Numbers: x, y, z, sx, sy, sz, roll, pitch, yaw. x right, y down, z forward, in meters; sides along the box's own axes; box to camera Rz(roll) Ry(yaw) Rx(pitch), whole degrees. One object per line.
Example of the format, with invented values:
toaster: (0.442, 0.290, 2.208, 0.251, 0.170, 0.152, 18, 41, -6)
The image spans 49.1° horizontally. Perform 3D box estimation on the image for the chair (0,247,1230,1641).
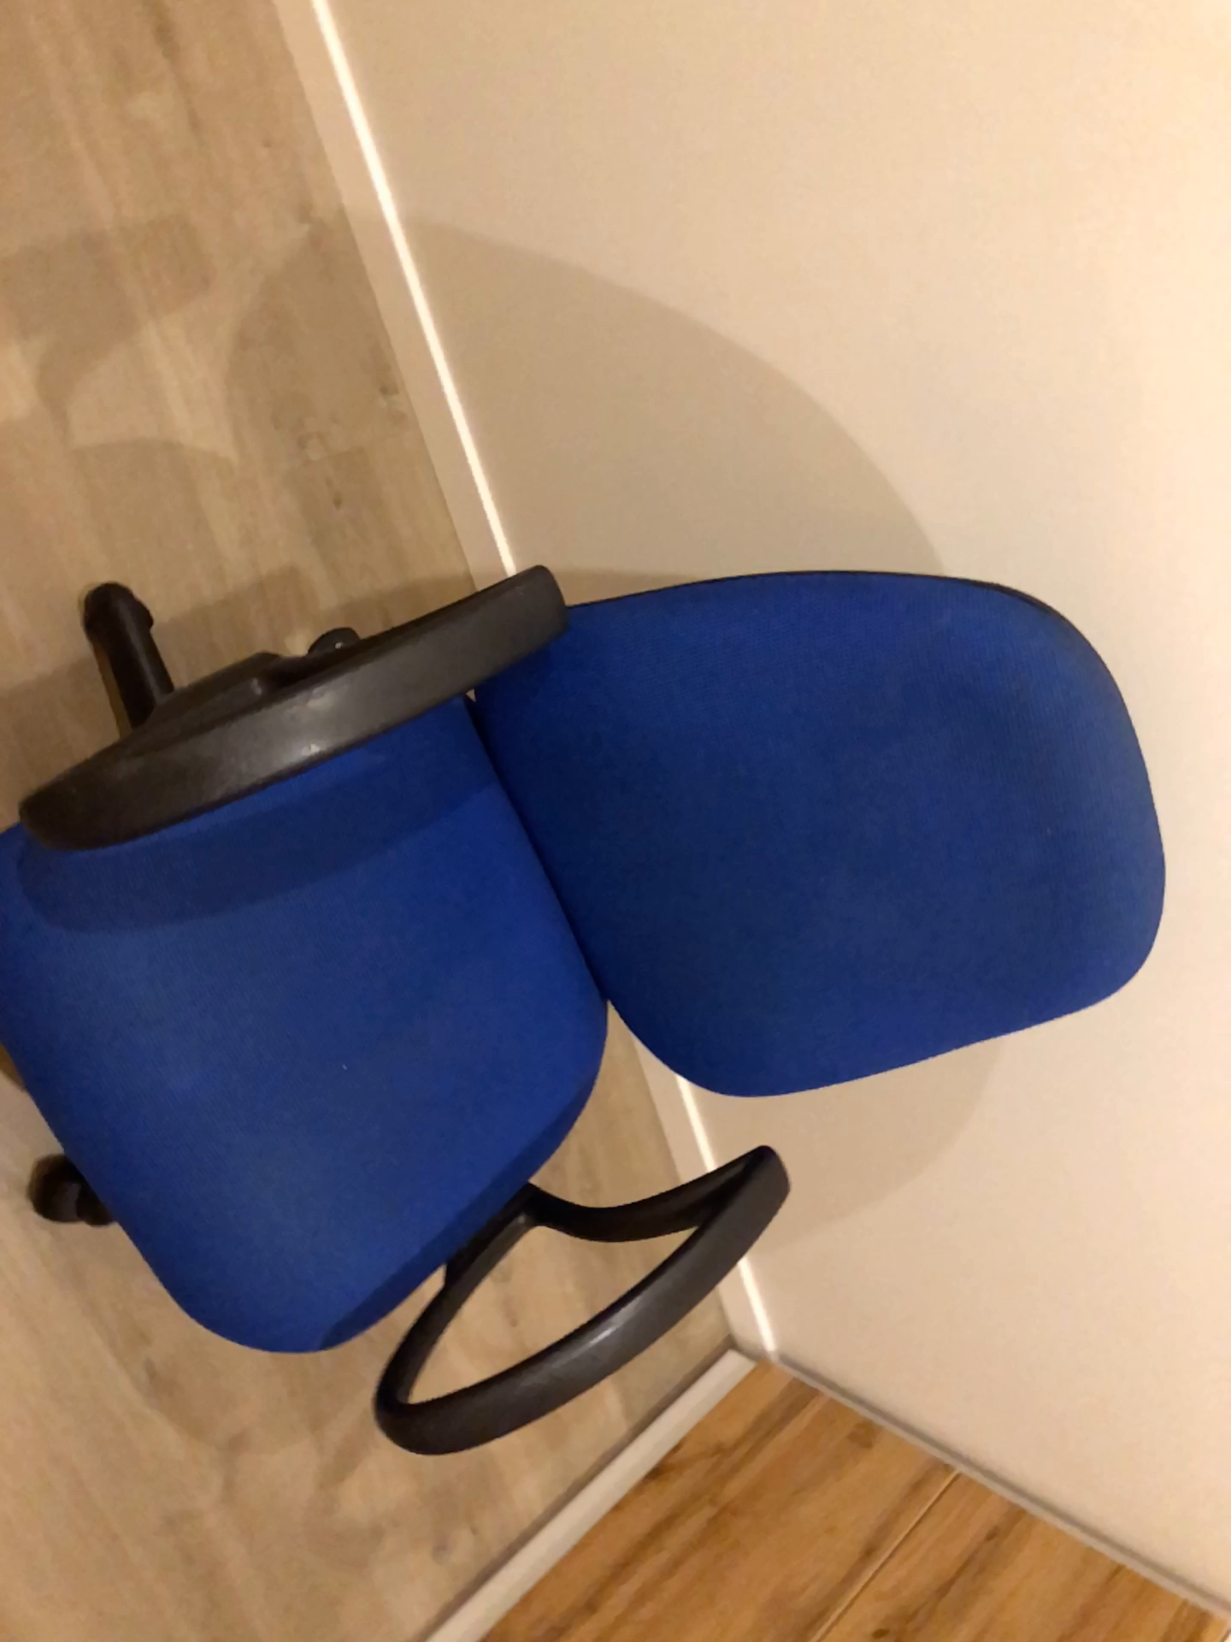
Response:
chair: (-0.128, 0.107, 1.100, 0.702, 0.905, 0.697, -38, 117, -29)
